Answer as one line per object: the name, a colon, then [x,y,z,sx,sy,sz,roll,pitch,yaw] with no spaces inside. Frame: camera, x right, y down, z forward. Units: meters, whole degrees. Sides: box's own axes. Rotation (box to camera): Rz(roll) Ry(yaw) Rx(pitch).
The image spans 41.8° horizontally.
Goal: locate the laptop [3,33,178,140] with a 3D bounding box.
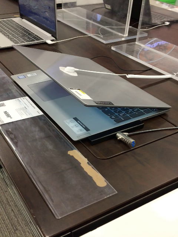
laptop: [-0.015,-0.112,0.613,0.260,0.097,0.346,-22,45,-25]
